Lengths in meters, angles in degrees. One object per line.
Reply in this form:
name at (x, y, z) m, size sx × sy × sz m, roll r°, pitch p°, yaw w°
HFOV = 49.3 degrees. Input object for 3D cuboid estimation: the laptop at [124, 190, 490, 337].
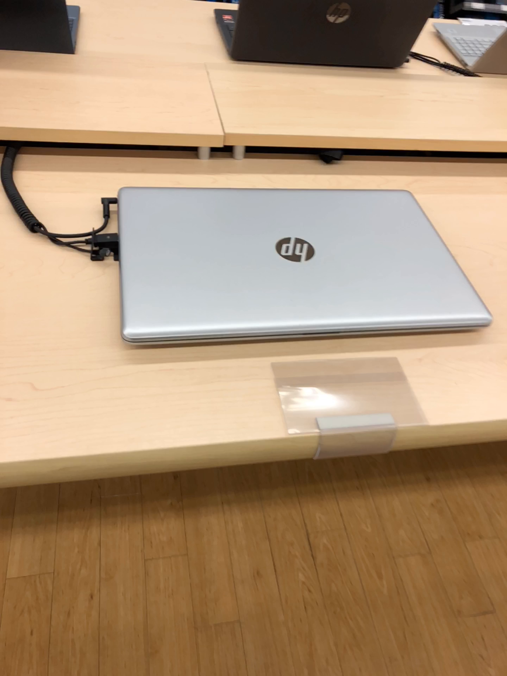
laptop at (0.050, -0.104, 0.668) m, size 0.397 × 0.001 × 0.258 m, roll -3°, pitch 47°, yaw -12°
